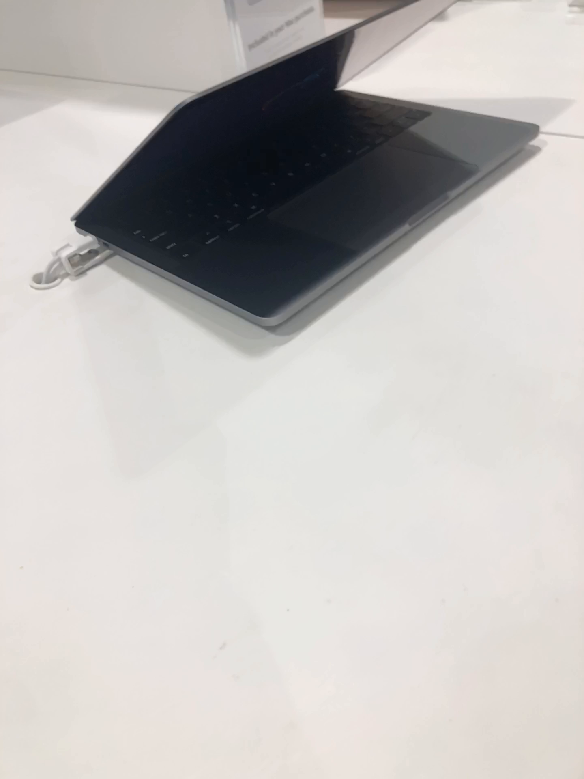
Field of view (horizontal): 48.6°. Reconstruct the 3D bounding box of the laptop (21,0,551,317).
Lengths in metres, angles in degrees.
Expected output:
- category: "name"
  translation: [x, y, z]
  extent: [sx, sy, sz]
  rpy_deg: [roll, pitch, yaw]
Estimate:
- category: "laptop"
  translation: [0.009, -0.203, 0.458]
  extent: [0.205, 0.109, 0.295]
  rpy_deg: [29, 54, 35]
